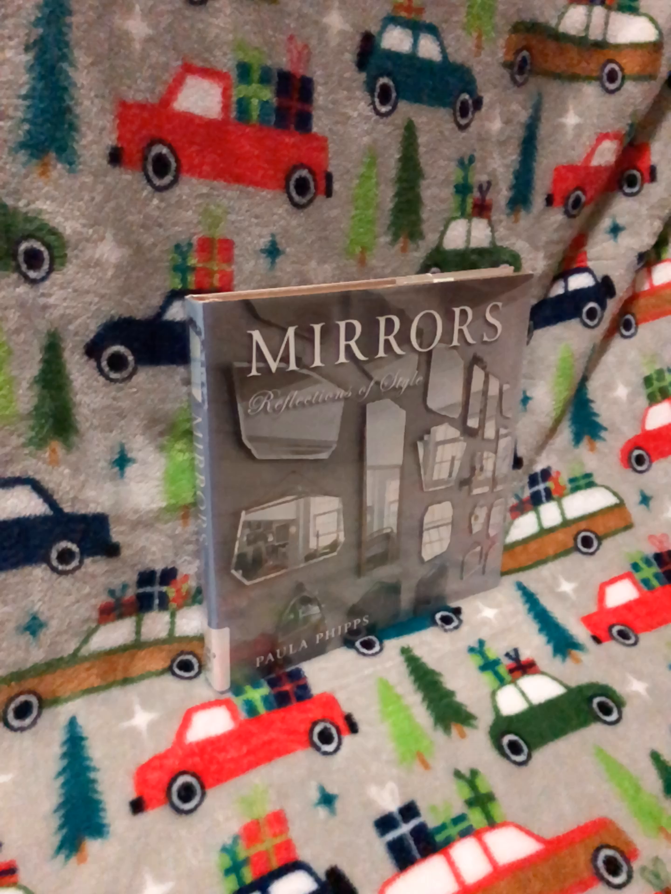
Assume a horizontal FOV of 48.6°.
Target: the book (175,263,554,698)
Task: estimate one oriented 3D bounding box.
[{"bbox_3d":[0.024,0.009,0.422,0.223,0.208,0.030,-13,26,-33],"label":"book"}]
